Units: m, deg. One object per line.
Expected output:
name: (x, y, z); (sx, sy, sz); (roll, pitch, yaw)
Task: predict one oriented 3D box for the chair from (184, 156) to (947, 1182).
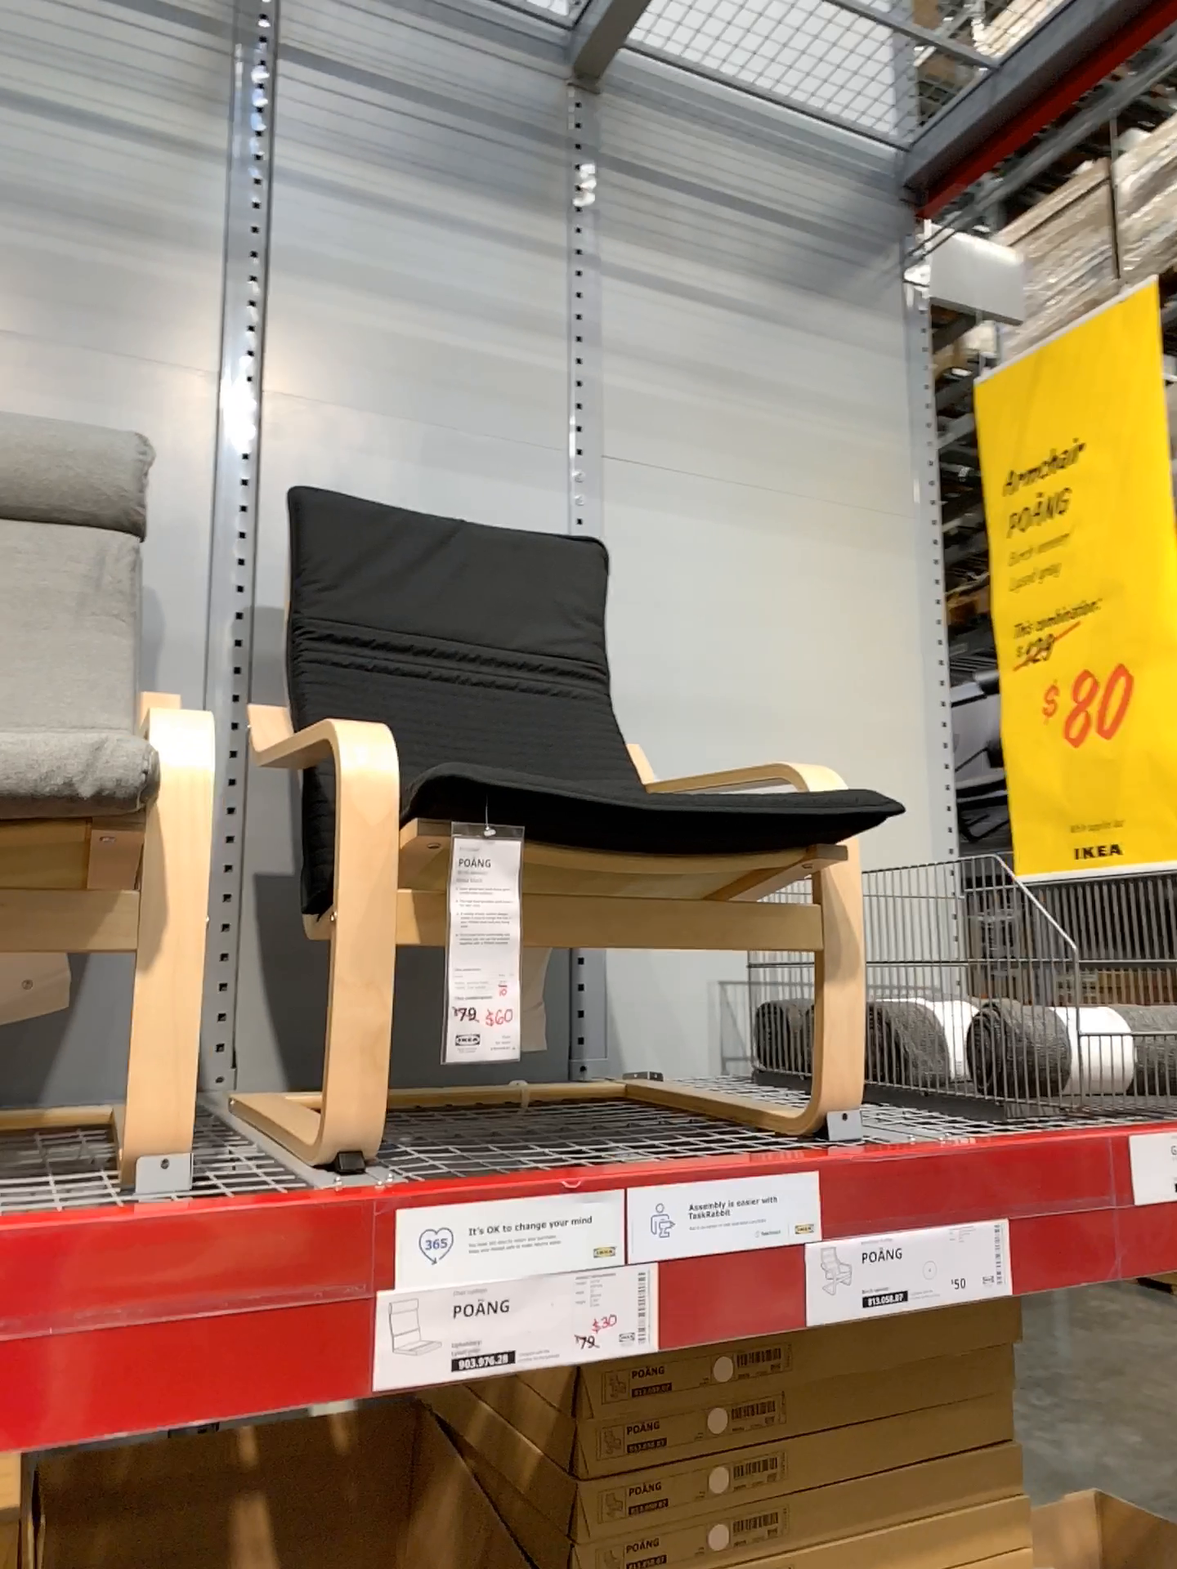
chair: (-0.097, -0.066, 1.684); (0.720, 1.012, 0.839); (5, -10, -27)
